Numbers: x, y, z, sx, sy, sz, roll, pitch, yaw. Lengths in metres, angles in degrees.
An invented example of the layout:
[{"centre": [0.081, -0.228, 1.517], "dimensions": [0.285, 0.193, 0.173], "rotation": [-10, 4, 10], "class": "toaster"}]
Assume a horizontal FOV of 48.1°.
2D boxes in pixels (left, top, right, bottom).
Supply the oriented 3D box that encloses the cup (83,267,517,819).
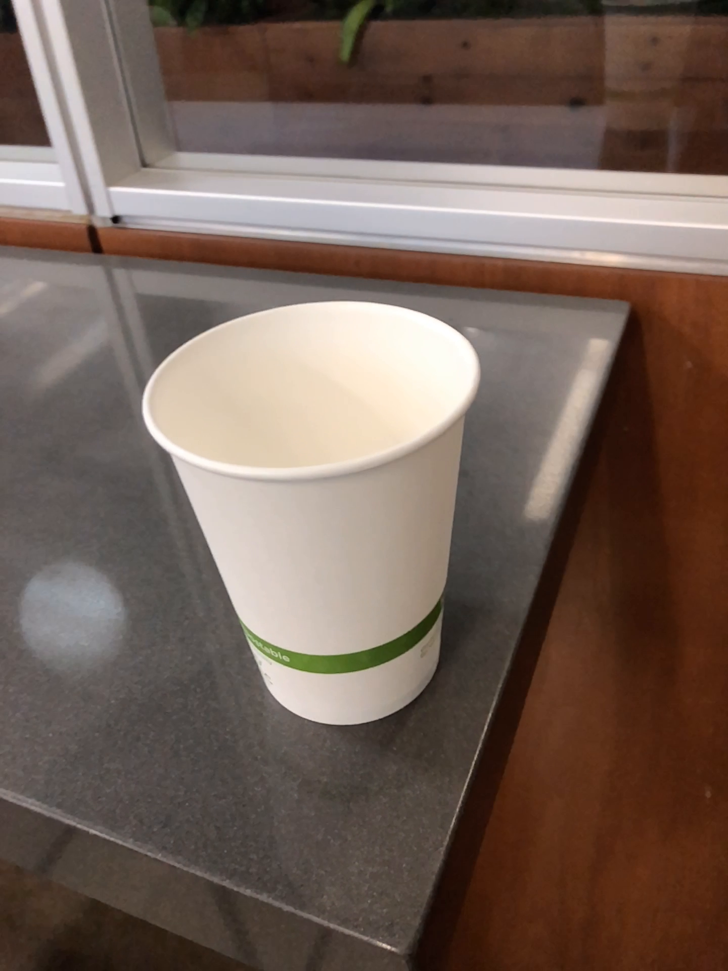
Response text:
[{"centre": [-0.017, 0.014, 0.244], "dimensions": [0.090, 0.119, 0.080], "rotation": [-17, 38, -16], "class": "cup"}]
